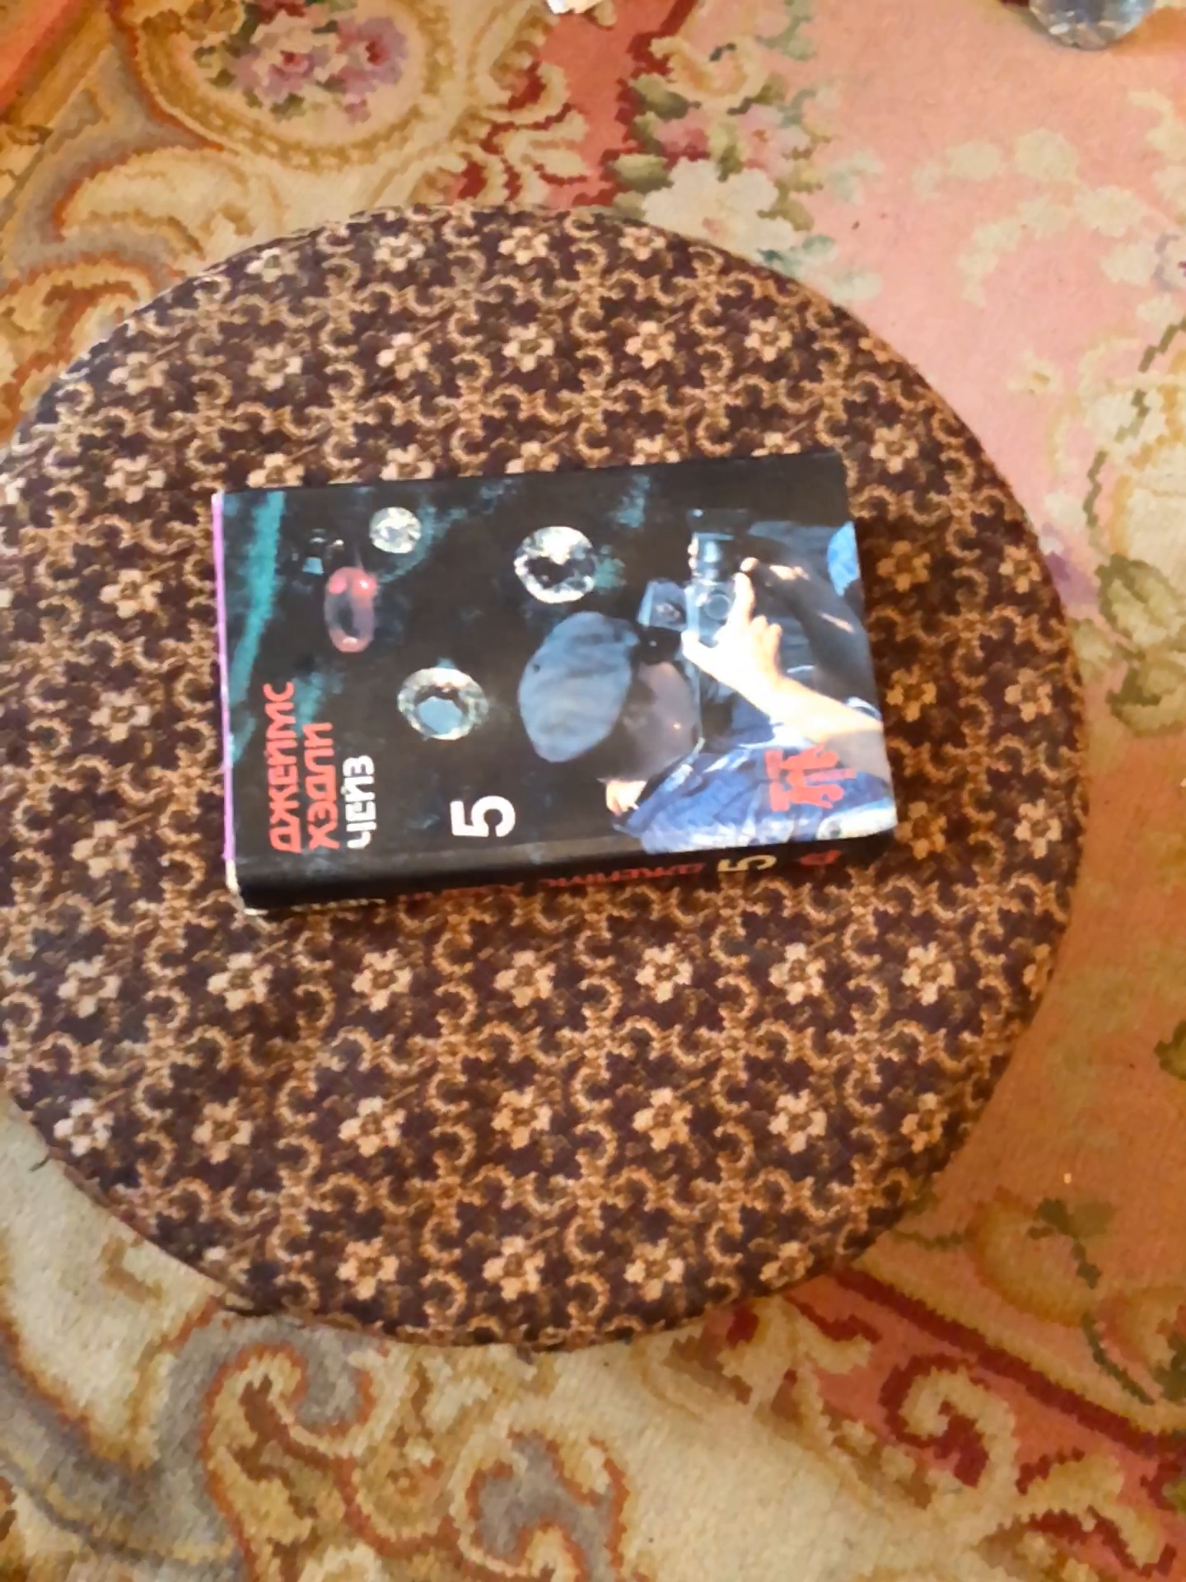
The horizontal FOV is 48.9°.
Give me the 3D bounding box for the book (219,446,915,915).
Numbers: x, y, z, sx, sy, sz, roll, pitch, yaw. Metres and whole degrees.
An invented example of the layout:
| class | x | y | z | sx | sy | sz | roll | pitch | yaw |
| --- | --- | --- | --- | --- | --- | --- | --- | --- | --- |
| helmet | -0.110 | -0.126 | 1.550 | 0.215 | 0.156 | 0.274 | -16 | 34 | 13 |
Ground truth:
| class | x | y | z | sx | sy | sz | roll | pitch | yaw |
| --- | --- | --- | --- | --- | --- | --- | --- | --- | --- |
| book | -0.010 | -0.039 | 0.411 | 0.205 | 0.020 | 0.140 | -3 | 75 | -7 |
